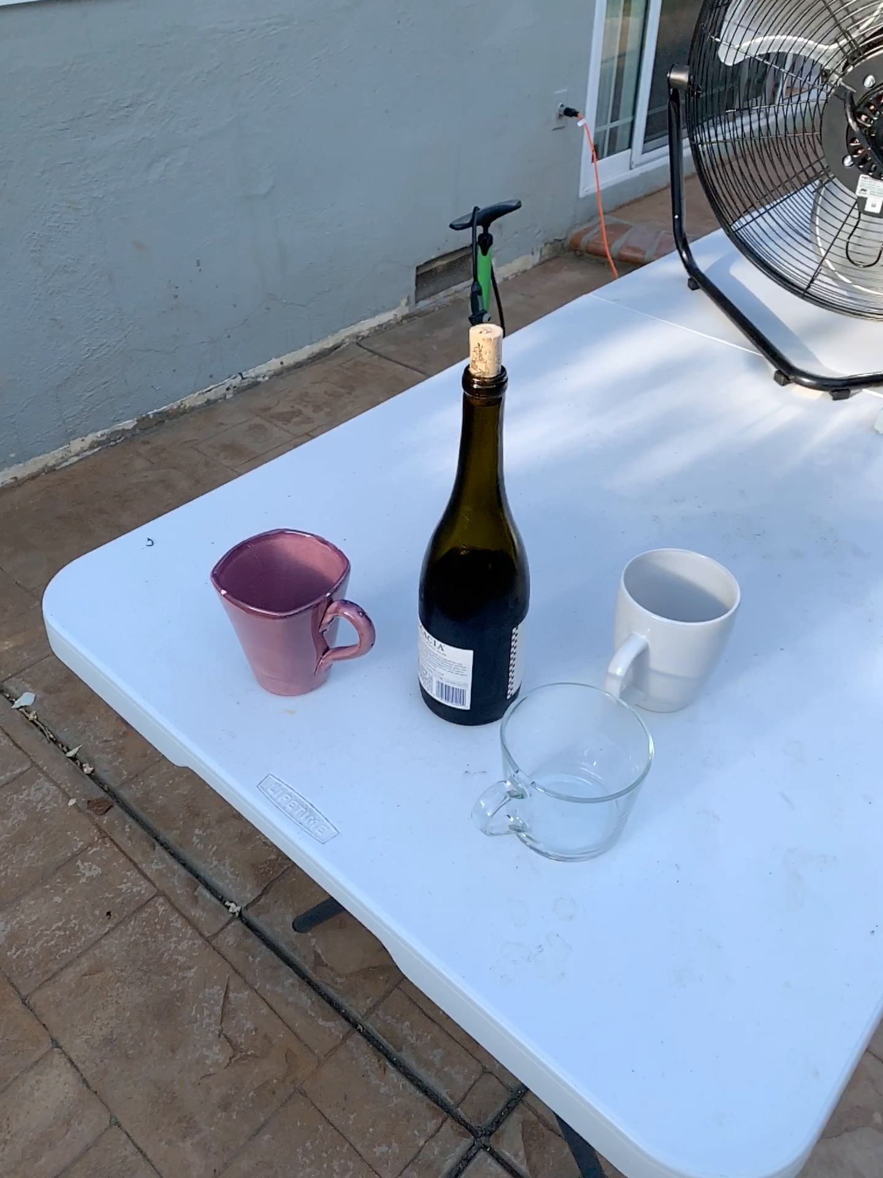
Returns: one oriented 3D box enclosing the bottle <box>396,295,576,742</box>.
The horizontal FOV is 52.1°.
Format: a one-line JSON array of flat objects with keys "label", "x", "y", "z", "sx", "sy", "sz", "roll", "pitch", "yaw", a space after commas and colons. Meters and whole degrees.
[{"label": "bottle", "x": 0.025, "y": -0.036, "z": 0.655, "sx": 0.086, "sy": 0.318, "sz": 0.087, "roll": 0, "pitch": 40, "yaw": 0}]
